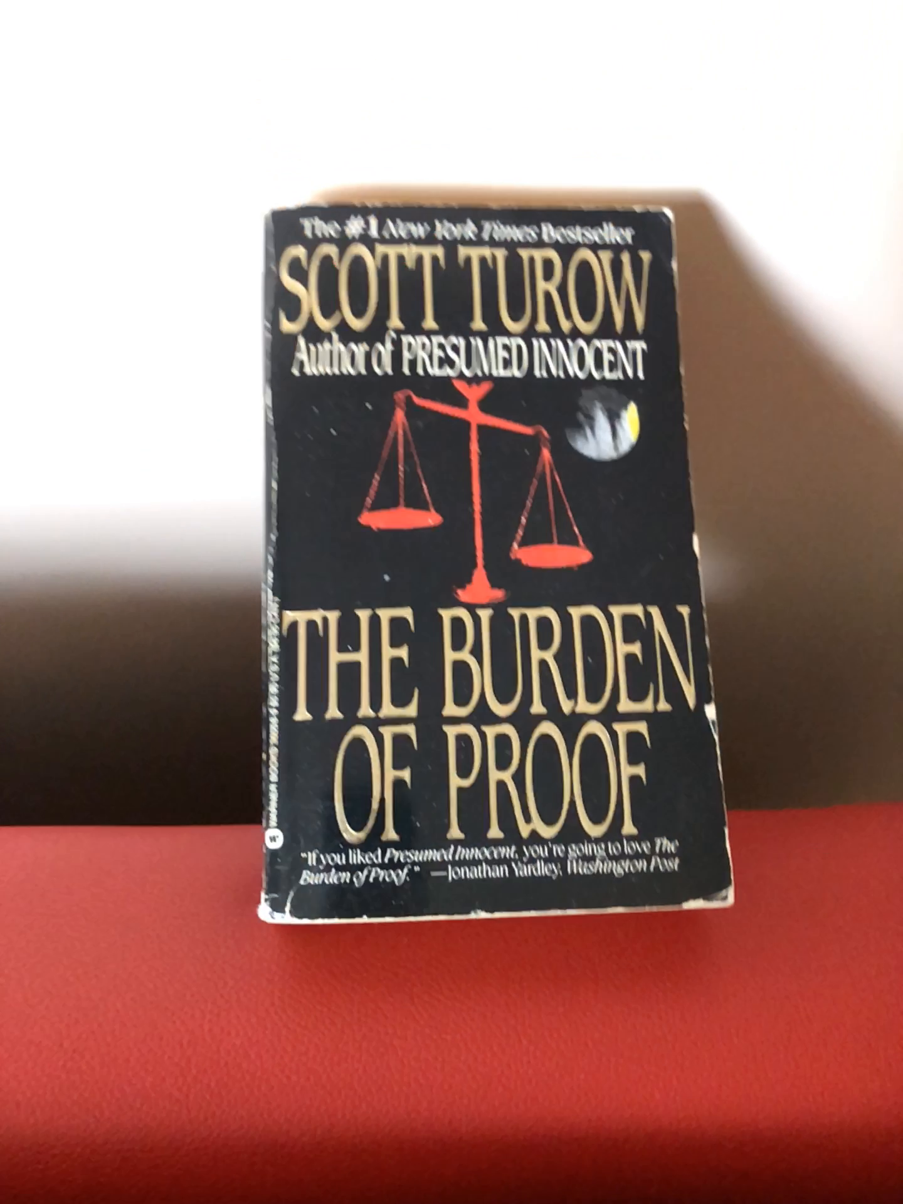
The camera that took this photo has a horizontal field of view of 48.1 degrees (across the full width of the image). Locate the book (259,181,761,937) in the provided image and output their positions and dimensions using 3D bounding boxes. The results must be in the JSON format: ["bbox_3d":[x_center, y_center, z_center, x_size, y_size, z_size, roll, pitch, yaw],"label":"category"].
[{"bbox_3d":[0.008,-0.012,0.249,0.106,0.045,0.171,-1,78,-6],"label":"book"}]
